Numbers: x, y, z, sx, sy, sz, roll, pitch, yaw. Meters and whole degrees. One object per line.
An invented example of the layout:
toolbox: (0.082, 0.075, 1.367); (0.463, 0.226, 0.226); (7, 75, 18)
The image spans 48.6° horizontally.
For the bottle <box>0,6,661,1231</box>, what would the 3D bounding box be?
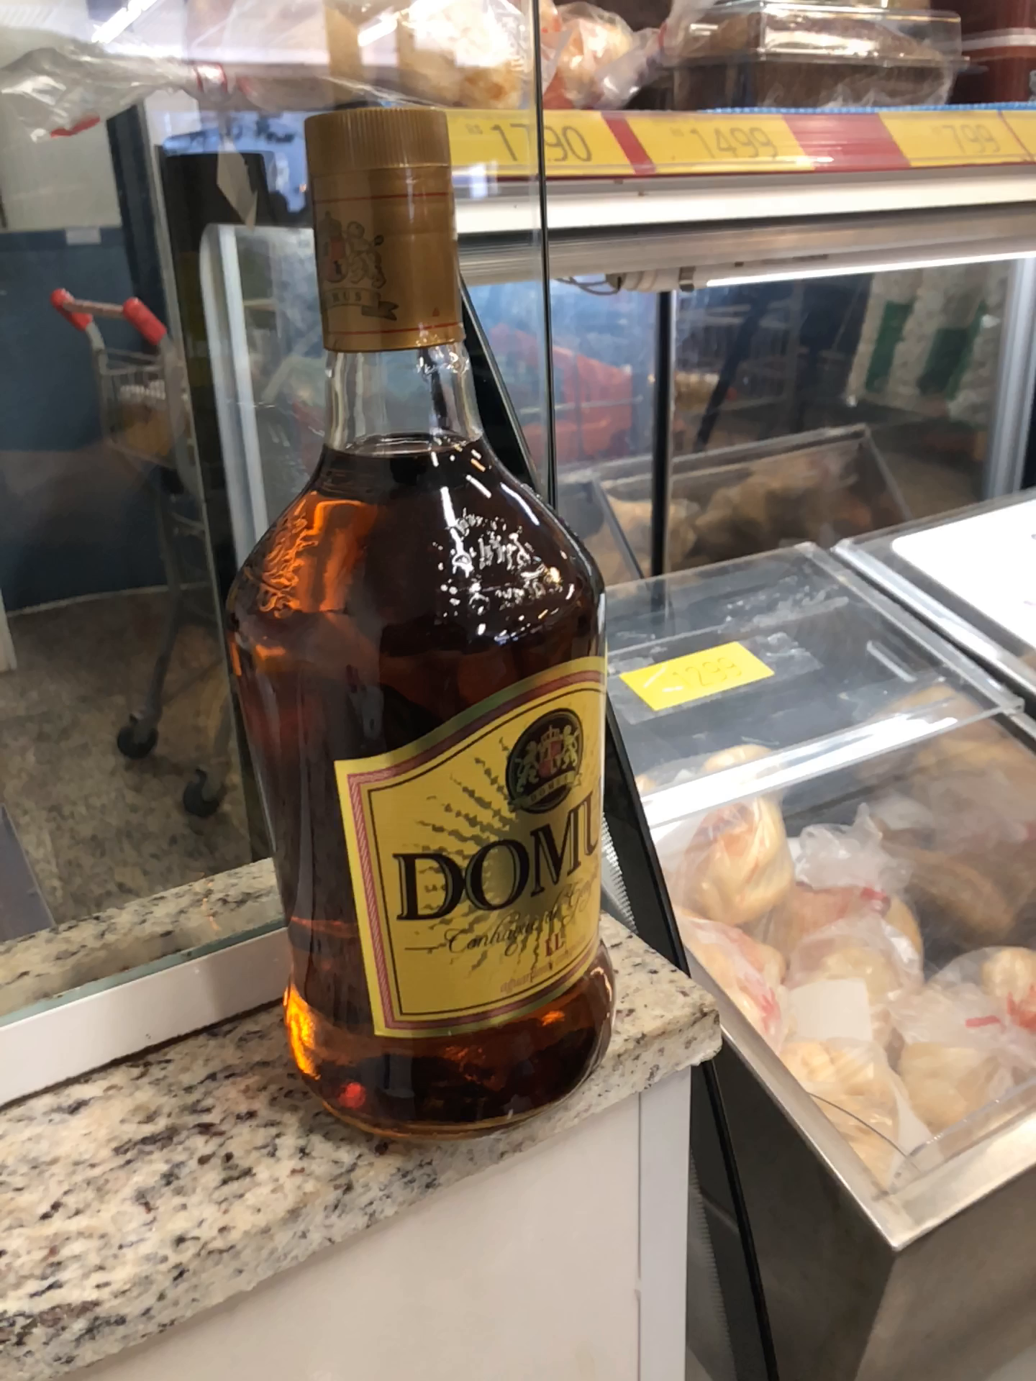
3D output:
bottle: (-0.038, -0.017, 0.299); (0.110, 0.258, 0.100); (-3, 22, 1)
